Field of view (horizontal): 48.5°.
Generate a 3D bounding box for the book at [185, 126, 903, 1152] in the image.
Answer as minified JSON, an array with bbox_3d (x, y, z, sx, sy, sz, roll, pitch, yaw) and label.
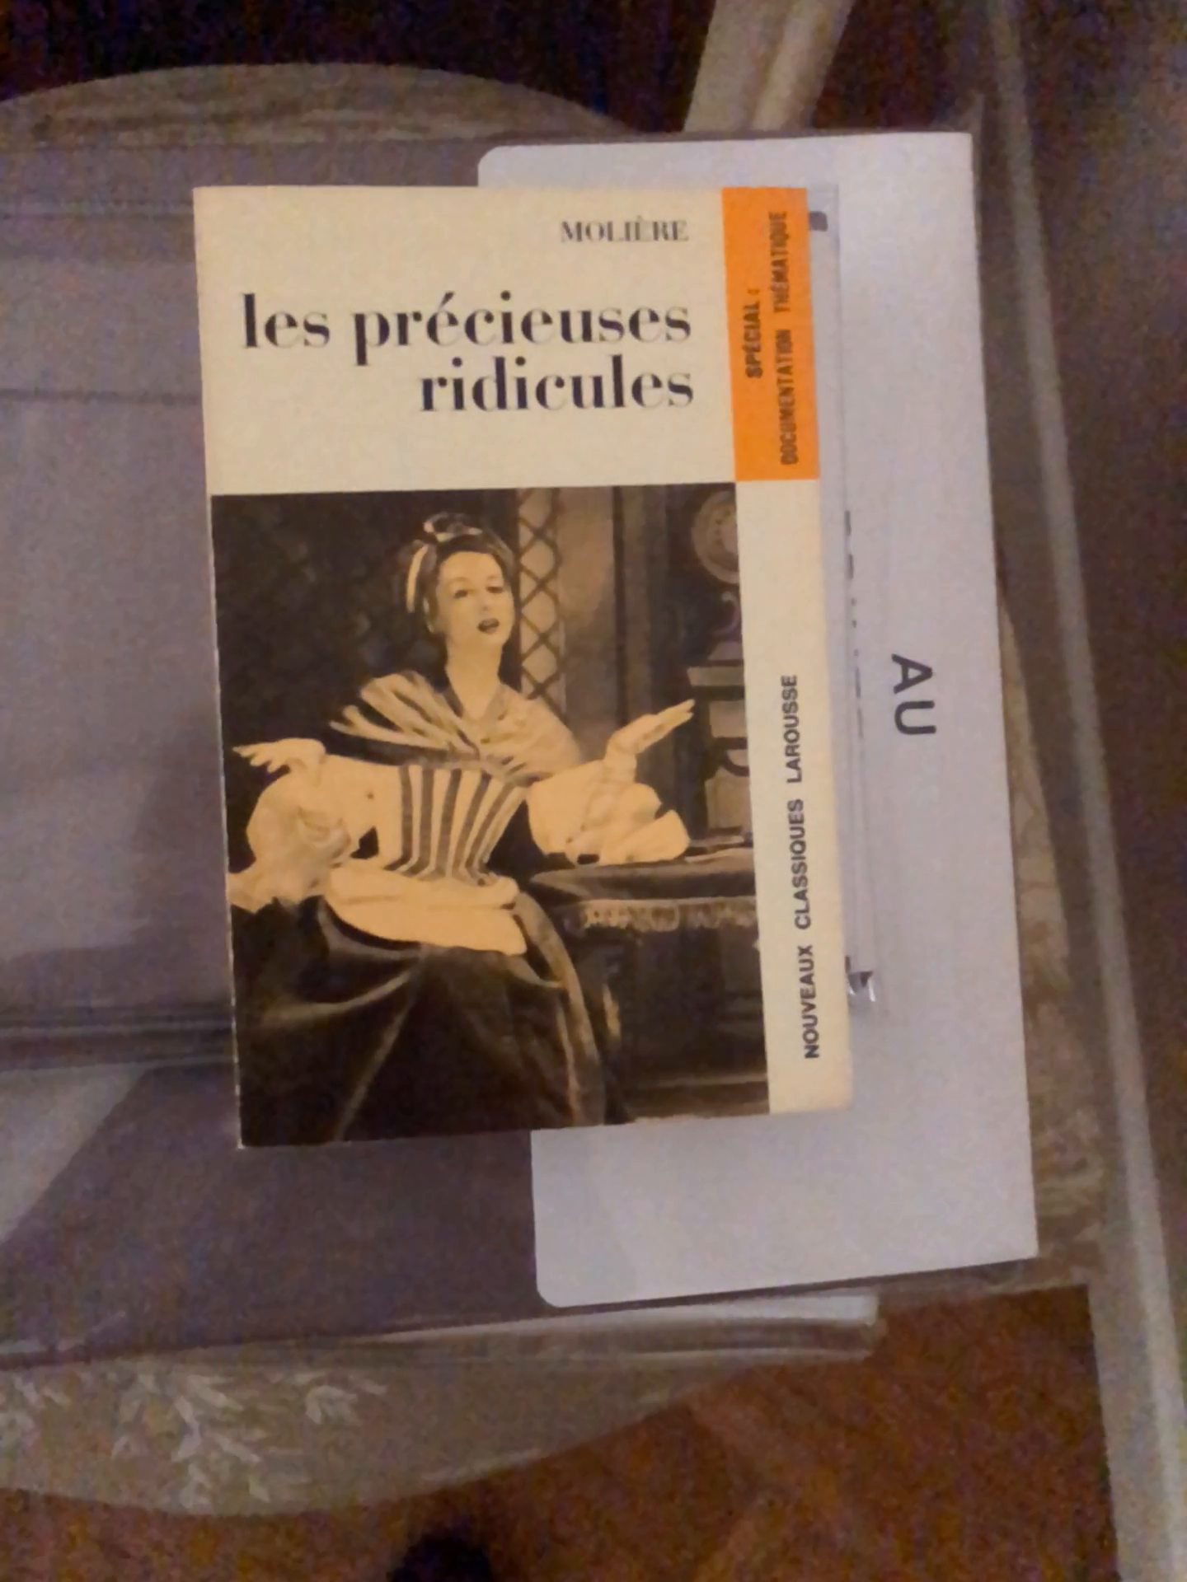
[{"bbox_3d":[-0.009,-0.030,0.246,0.120,0.020,0.180,-3,88,-4],"label":"book"}]
